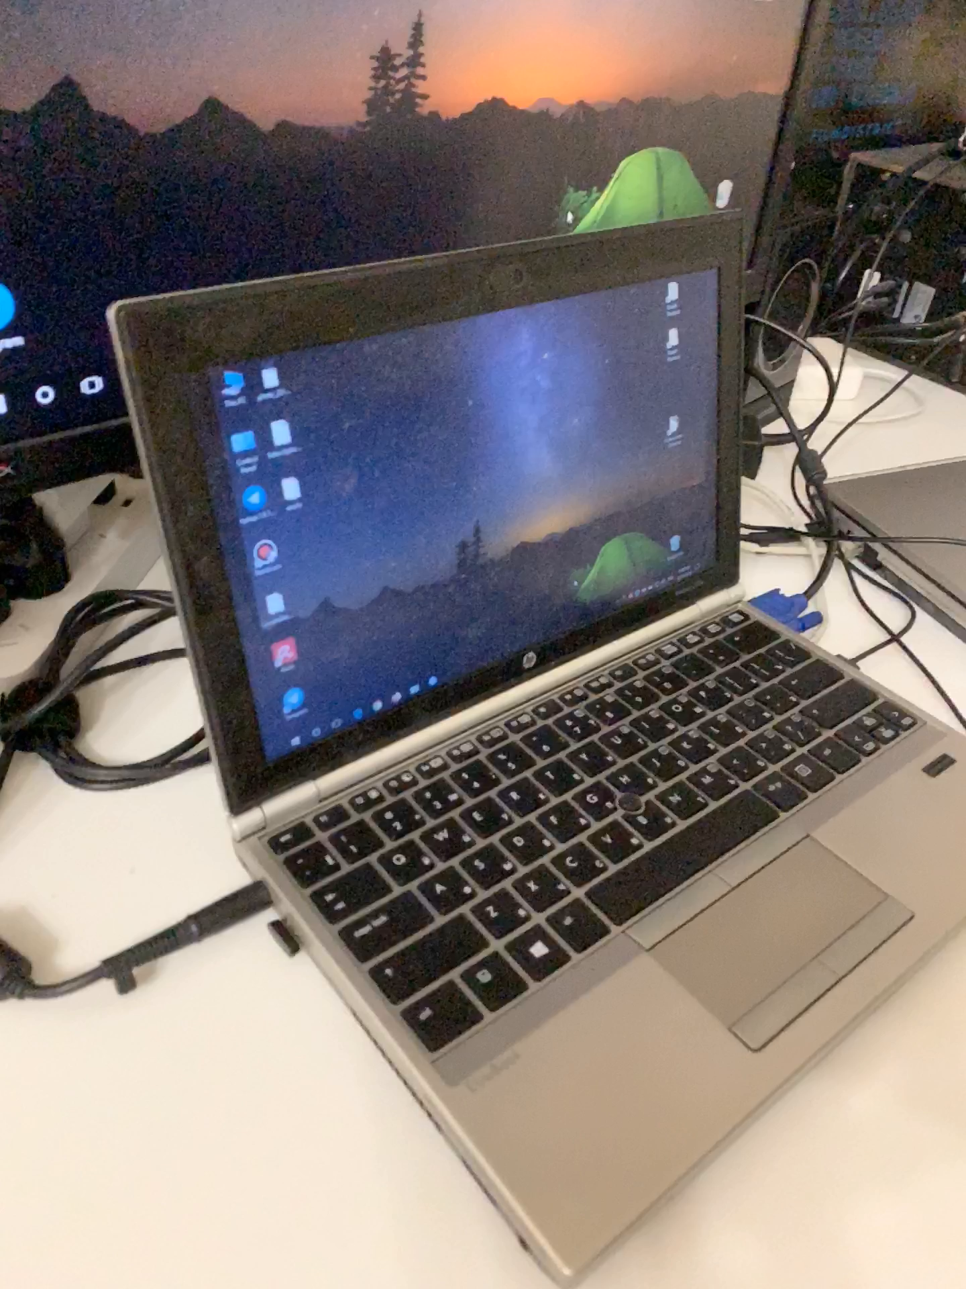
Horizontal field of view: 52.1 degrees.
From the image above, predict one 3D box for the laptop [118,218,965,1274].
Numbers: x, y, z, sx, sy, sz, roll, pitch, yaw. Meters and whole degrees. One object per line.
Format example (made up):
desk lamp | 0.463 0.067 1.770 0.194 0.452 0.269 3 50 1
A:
laptop | 0.070 -0.016 0.343 0.285 0.175 0.226 -23 44 -33
